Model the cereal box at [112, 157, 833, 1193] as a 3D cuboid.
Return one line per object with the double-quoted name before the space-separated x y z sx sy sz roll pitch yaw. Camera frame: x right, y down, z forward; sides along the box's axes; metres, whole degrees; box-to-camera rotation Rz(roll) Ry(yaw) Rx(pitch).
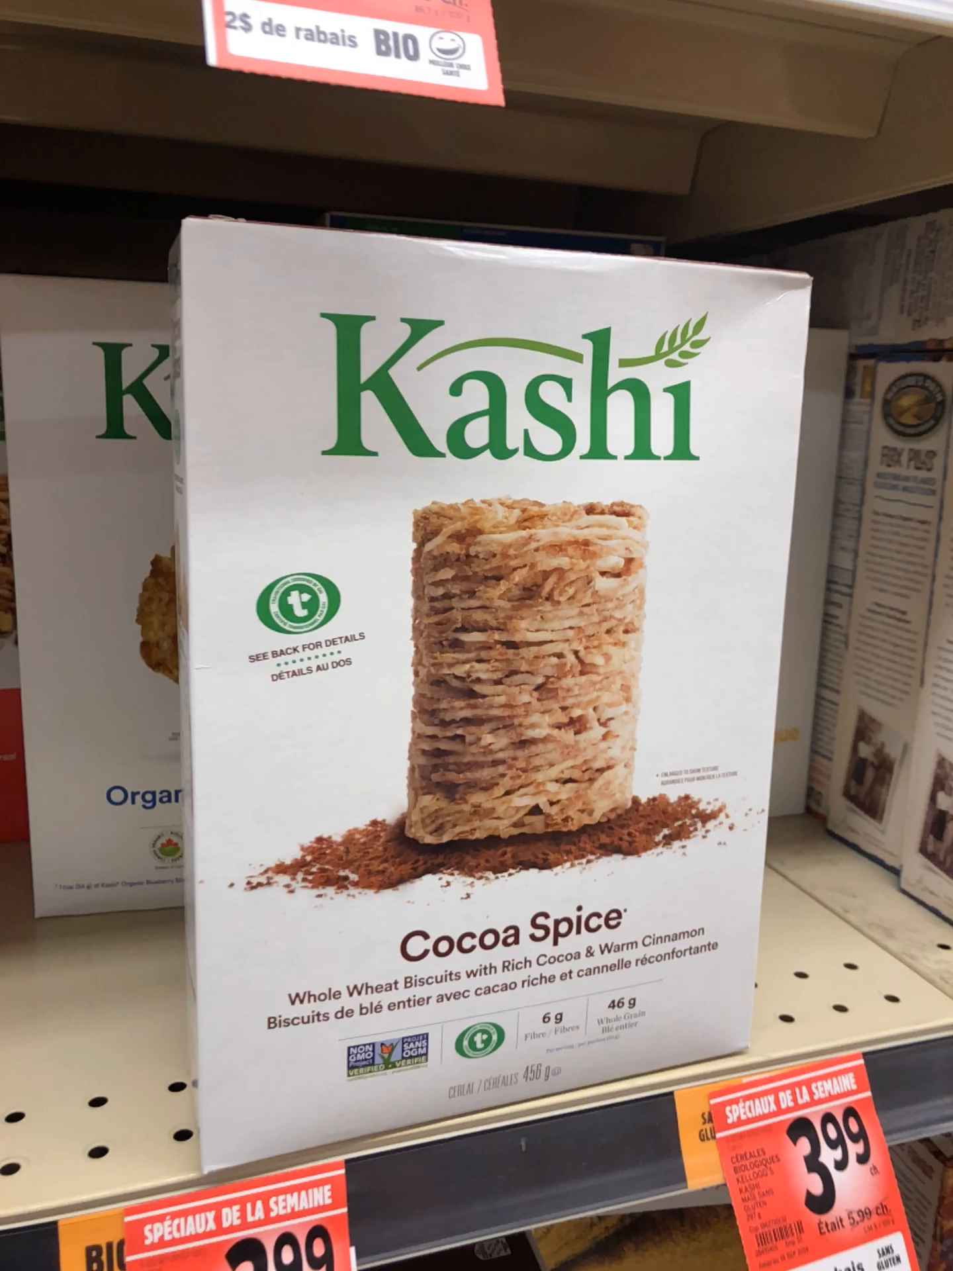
"cereal box" -0.001 0.011 0.343 0.210 0.279 0.060 -3 11 -21
